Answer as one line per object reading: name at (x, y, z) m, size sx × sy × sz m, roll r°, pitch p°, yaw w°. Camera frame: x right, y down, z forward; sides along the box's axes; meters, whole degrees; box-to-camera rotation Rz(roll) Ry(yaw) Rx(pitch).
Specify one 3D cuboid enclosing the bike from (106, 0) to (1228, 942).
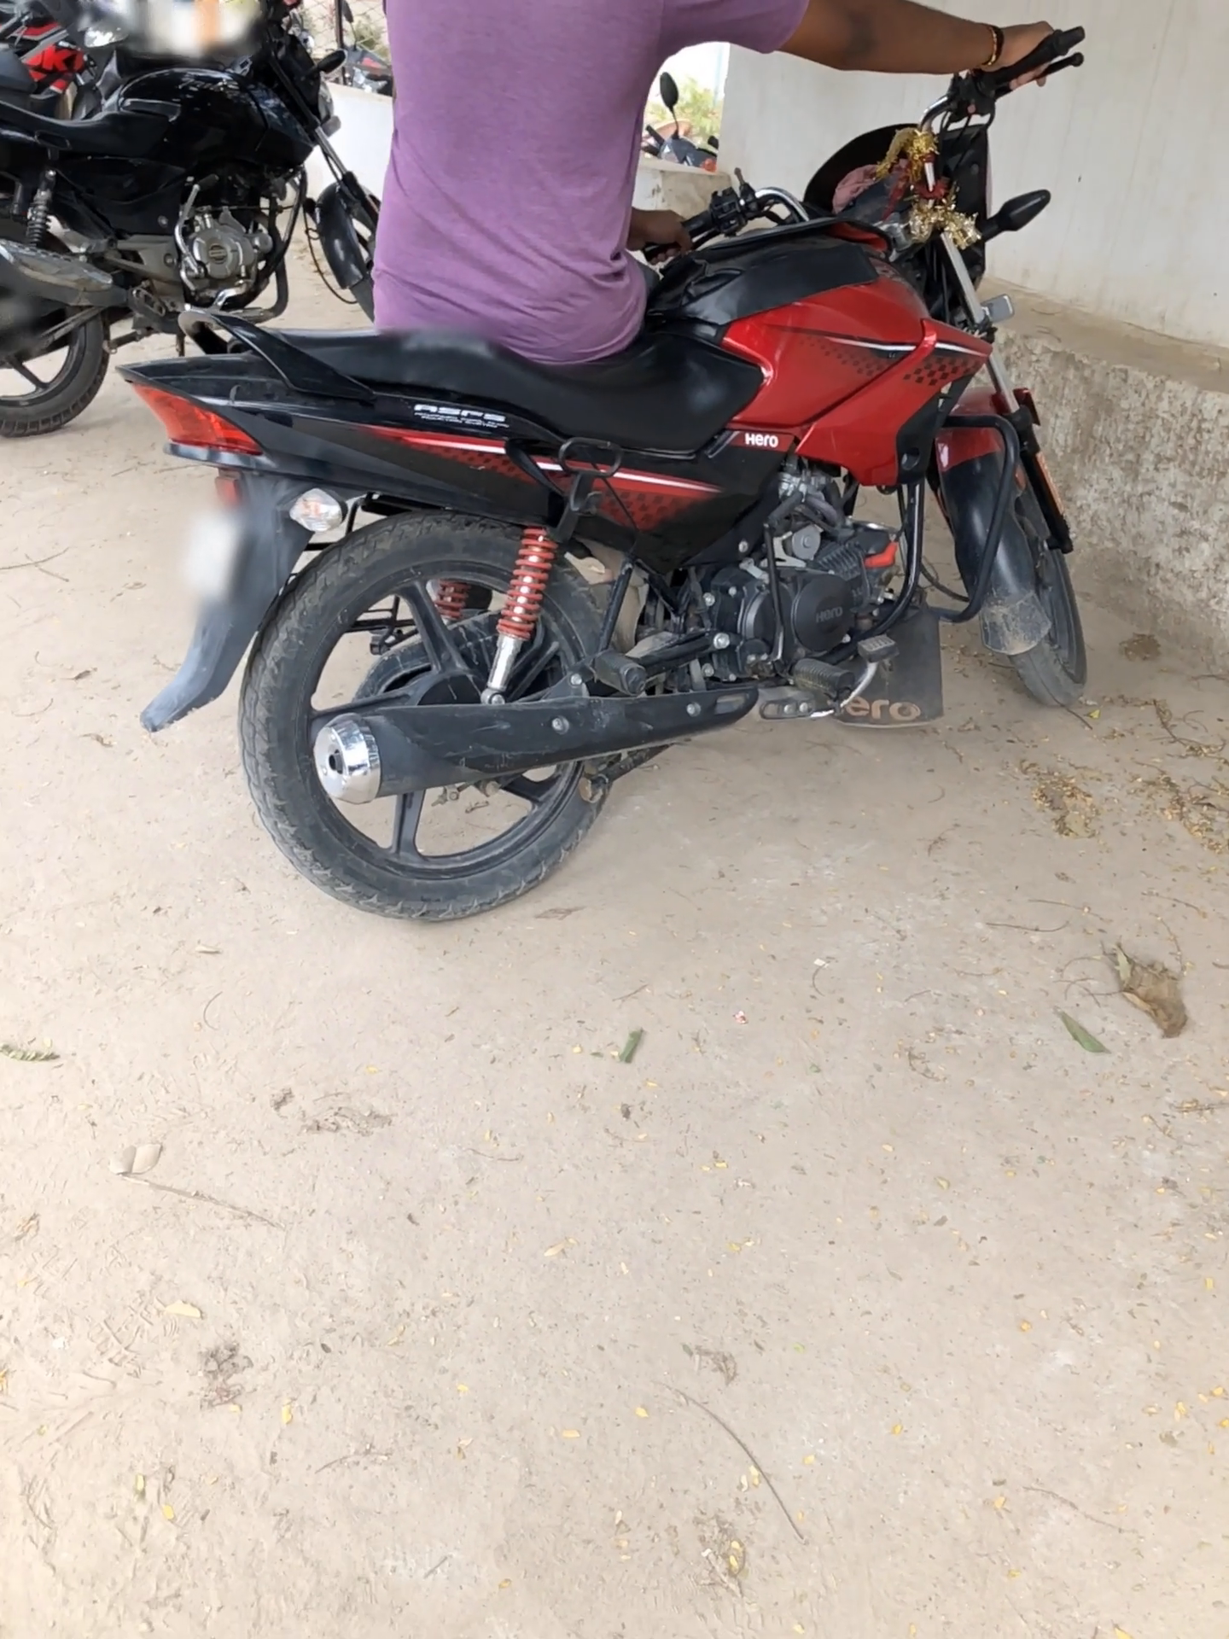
bike at (0.153, -0.834, 2.225) m, size 1.707 × 1.086 × 0.741 m, roll -26°, pitch 41°, yaw -32°
